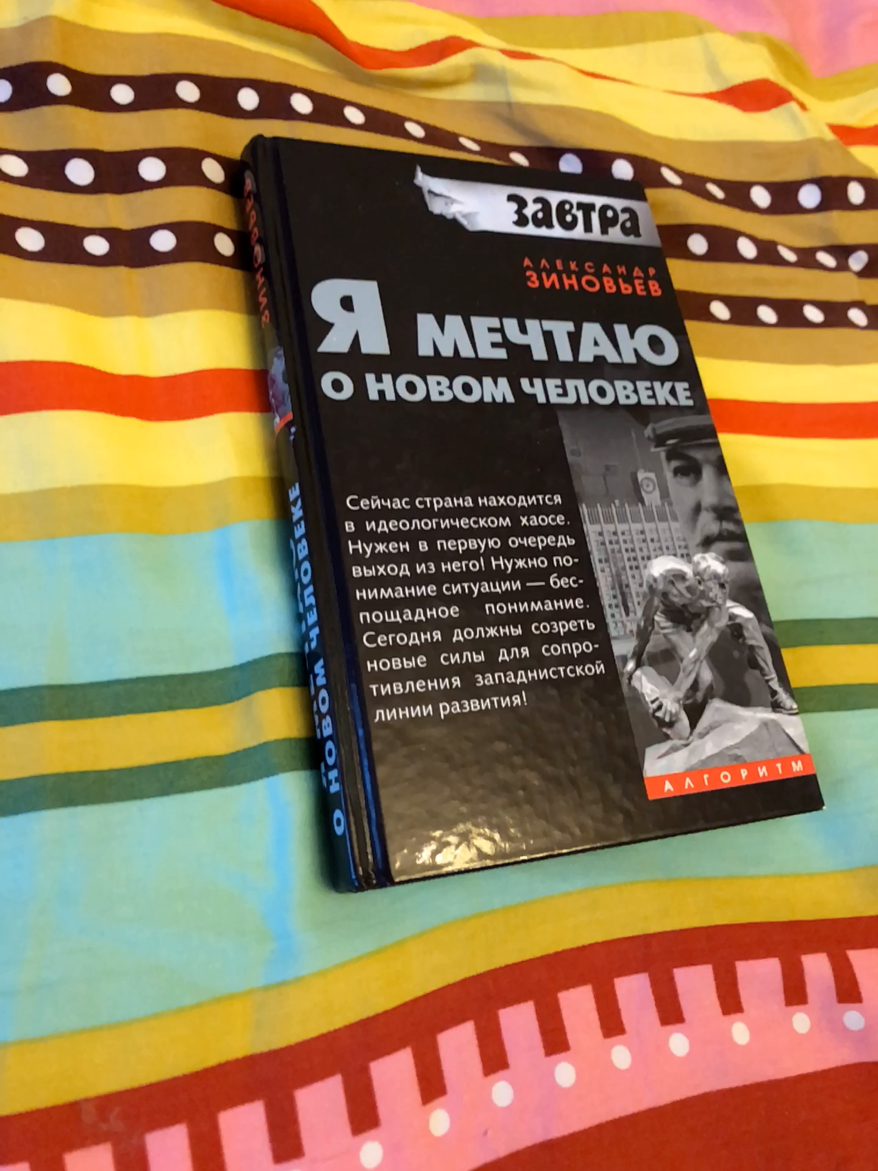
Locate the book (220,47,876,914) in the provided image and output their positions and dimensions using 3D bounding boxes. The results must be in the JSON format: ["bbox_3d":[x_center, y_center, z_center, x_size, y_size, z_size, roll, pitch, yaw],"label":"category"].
[{"bbox_3d":[0.023,-0.037,0.266,0.140,0.030,0.220,-3,72,-22],"label":"book"}]
